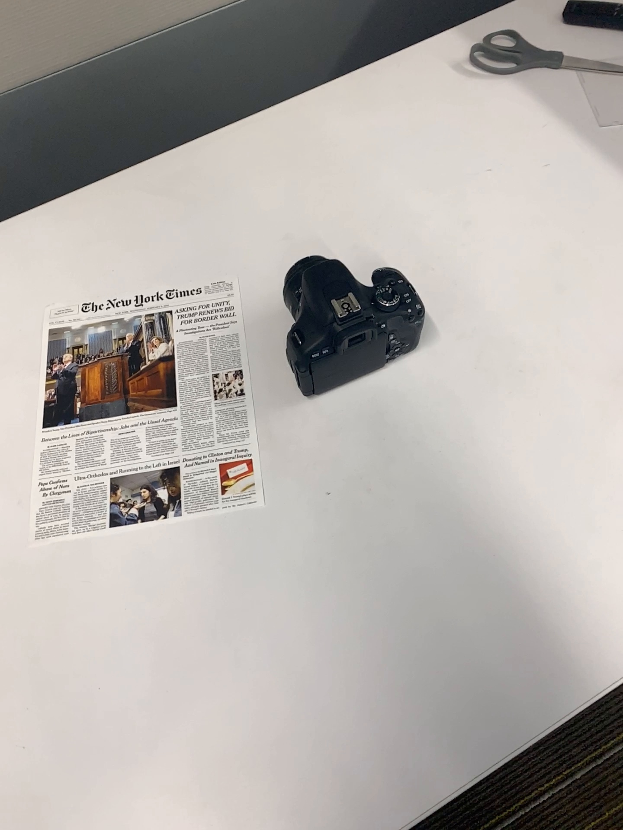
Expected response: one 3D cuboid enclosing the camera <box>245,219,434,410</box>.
[{"bbox_3d":[0.026,-0.096,0.612,0.137,0.090,0.110,-23,61,-8],"label":"camera"}]
